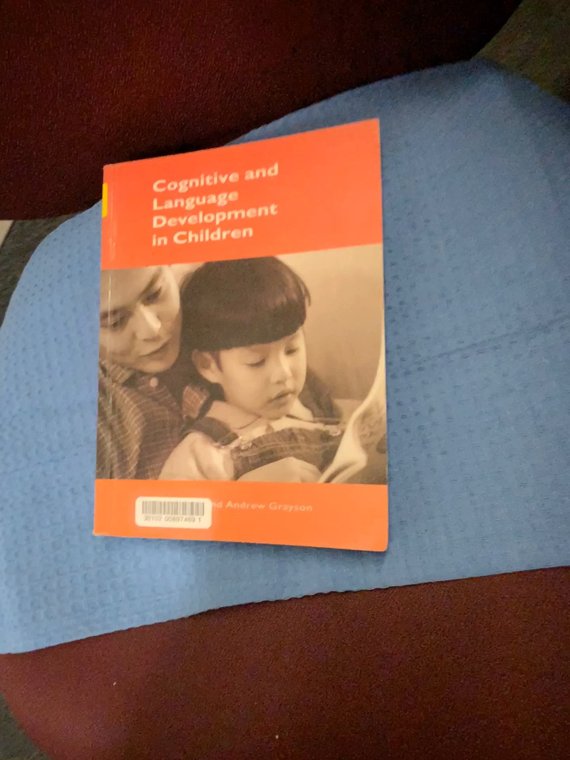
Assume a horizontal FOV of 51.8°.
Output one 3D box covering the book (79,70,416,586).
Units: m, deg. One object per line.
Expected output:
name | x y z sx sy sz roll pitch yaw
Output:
book | -0.029 -0.025 0.370 0.200 0.060 0.270 -3 86 22
